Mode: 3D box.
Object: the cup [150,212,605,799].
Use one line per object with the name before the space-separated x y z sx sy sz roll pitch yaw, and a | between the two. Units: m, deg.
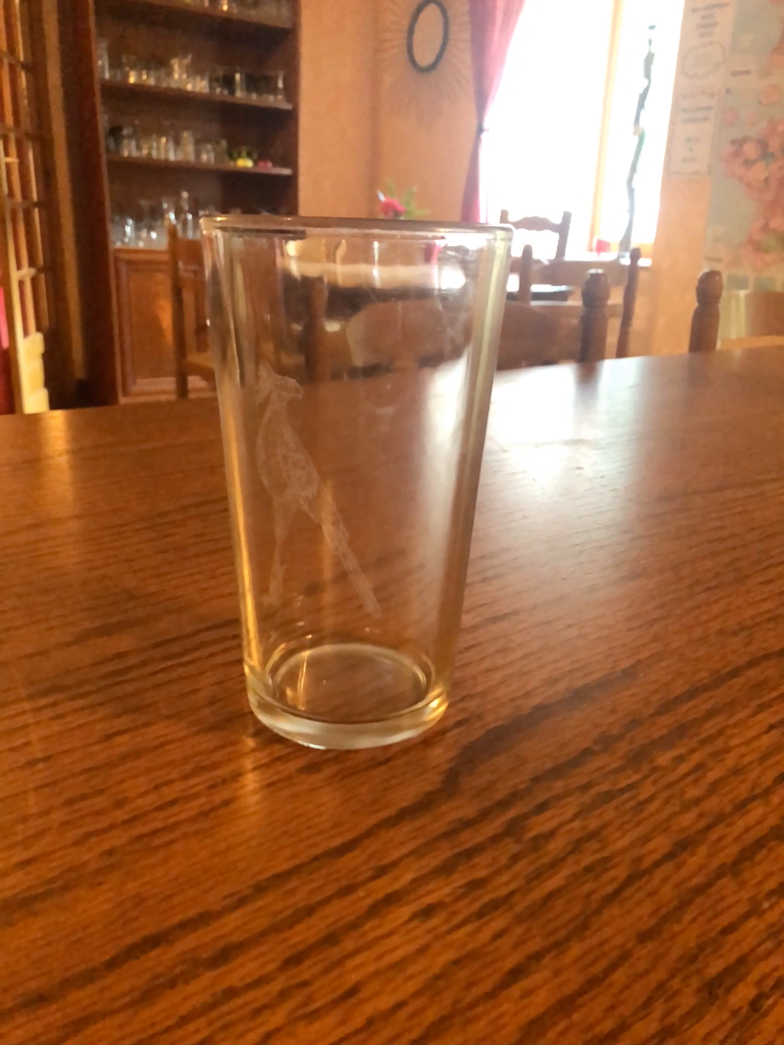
cup | -0.007 -0.016 0.265 0.092 0.144 0.089 2 18 -1
